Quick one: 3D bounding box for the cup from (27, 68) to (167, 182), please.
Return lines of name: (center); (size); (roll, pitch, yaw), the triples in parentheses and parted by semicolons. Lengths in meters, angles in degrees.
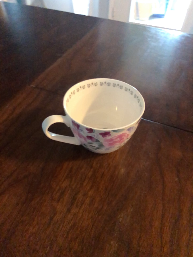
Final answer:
cup: (-0.004, -0.016, 0.327); (0.160, 0.070, 0.120); (-18, 48, -20)
